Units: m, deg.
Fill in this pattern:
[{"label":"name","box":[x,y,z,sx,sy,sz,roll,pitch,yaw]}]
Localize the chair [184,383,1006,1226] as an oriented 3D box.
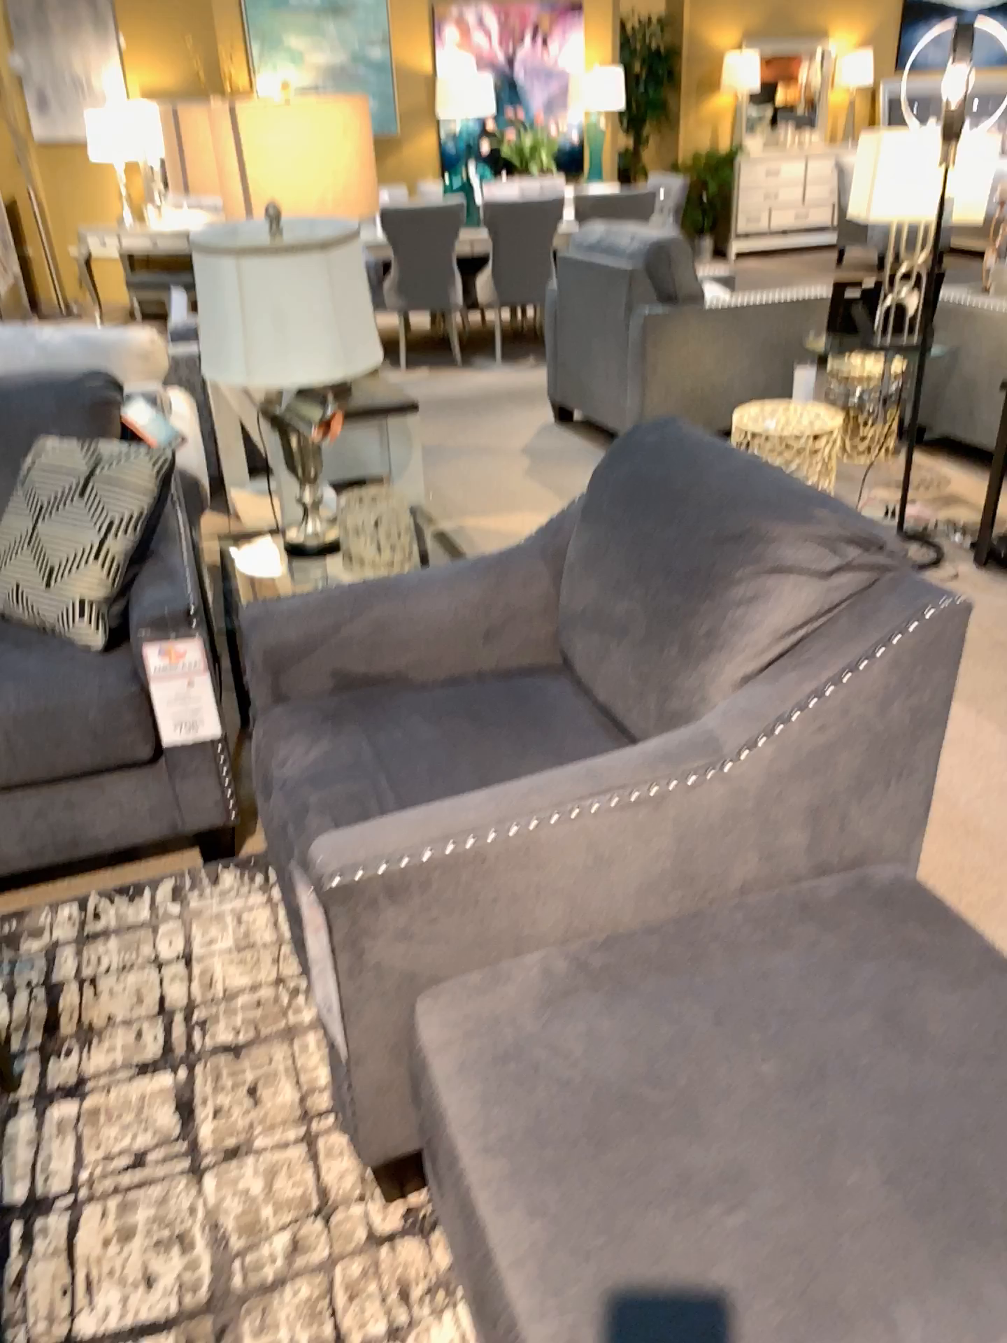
[{"label":"chair","box":[0.069,0.090,1.724,0.957,0.840,0.925,-11,30,-17]}]
